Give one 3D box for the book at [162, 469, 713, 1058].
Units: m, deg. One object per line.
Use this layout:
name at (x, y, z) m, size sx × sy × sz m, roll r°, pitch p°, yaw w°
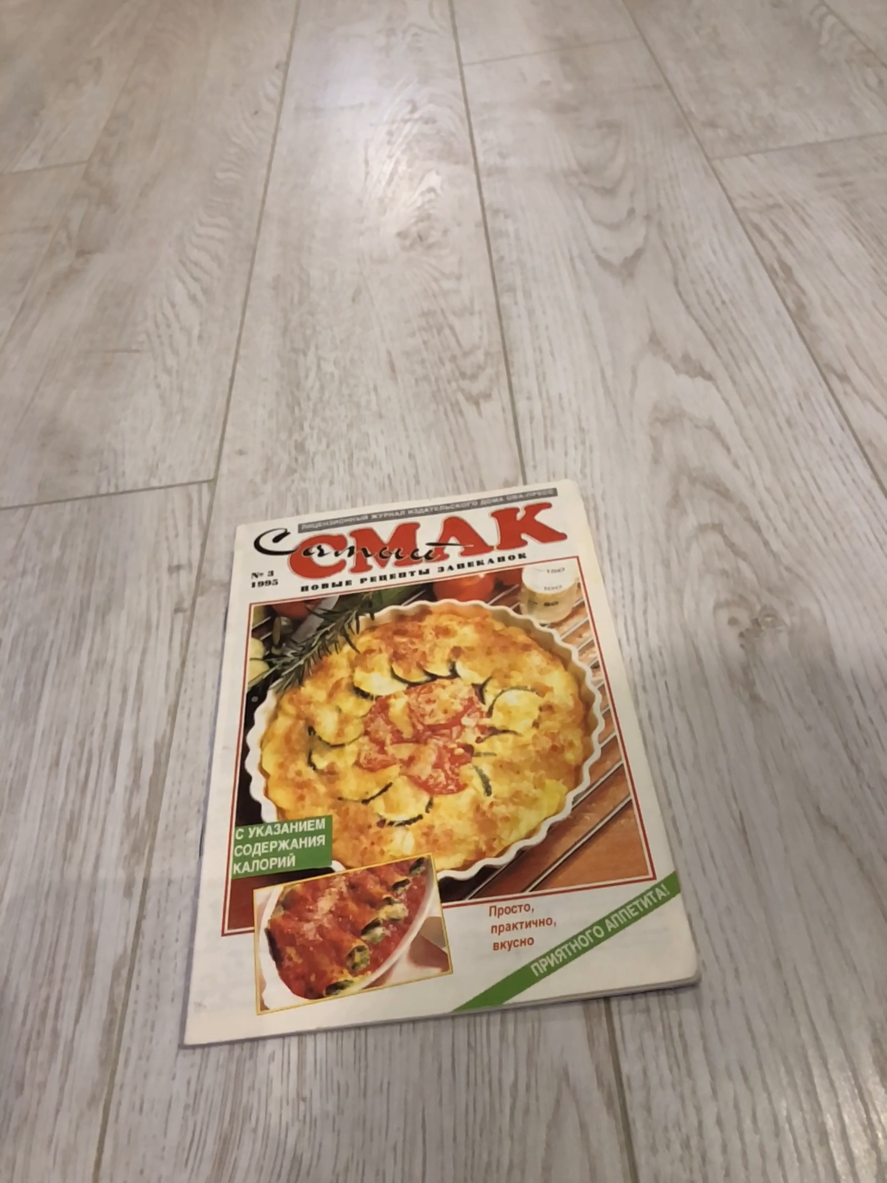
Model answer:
book at (-0.009, 0.046, 0.377) m, size 0.165 × 0.020 × 0.231 m, roll -8°, pitch 46°, yaw 3°
